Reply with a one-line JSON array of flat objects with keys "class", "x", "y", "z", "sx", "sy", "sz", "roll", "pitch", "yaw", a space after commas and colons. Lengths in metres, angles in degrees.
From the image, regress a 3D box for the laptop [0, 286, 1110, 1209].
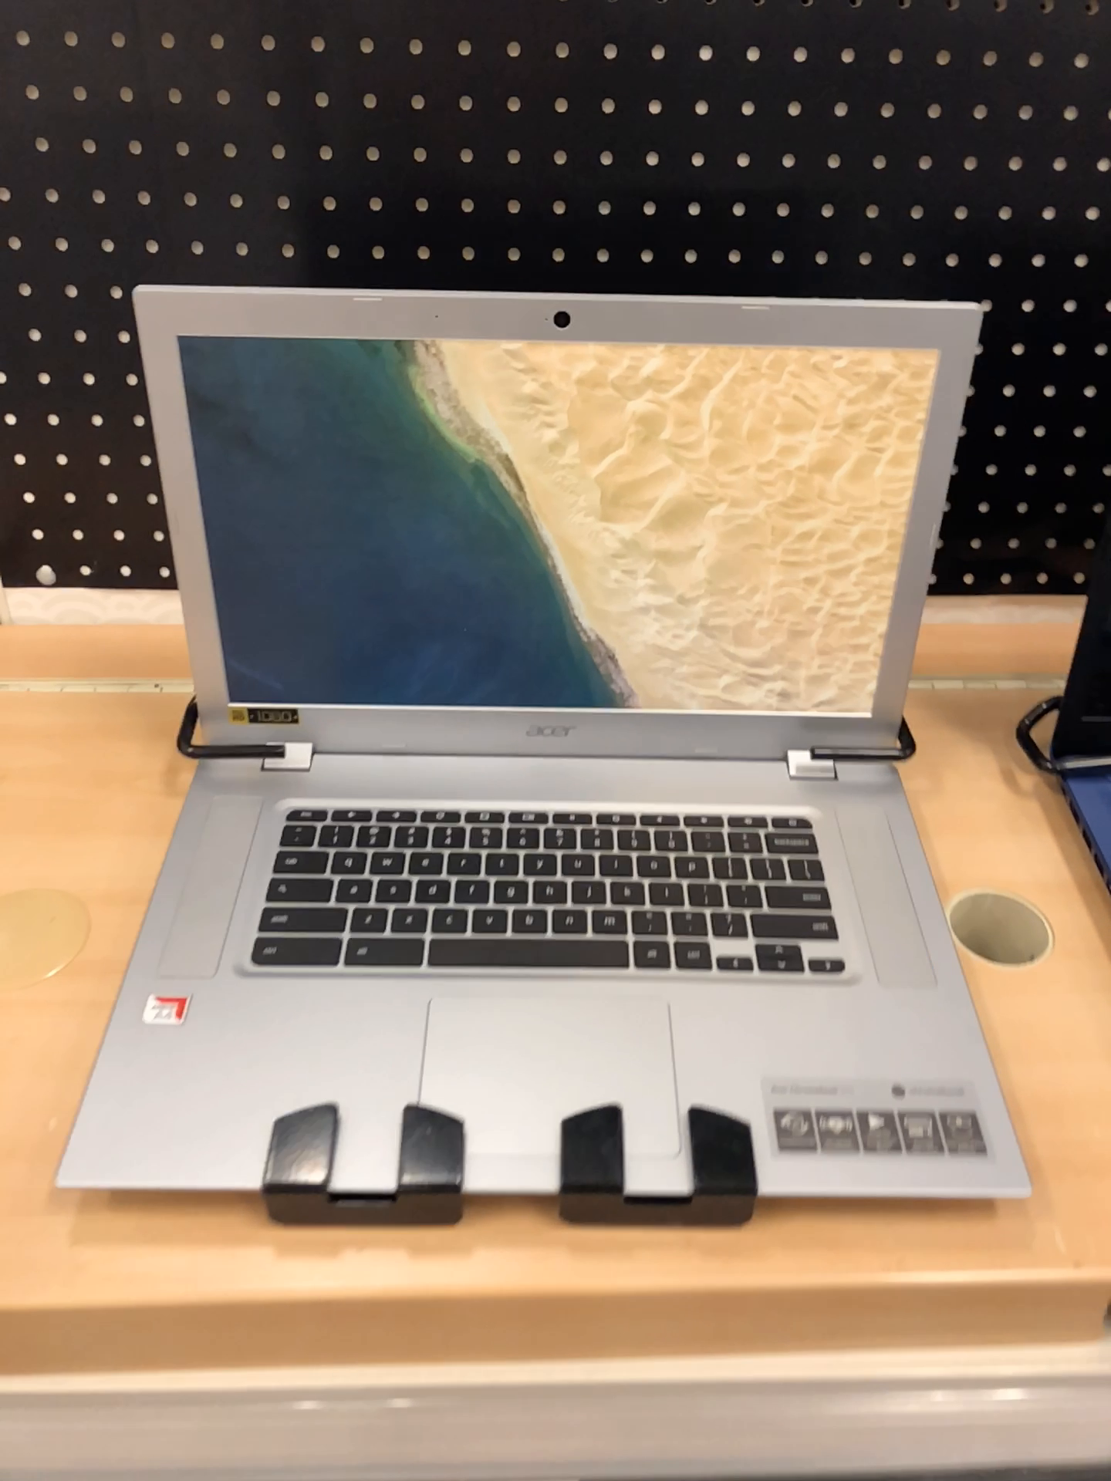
[{"class": "laptop", "x": 0.000, "y": -0.015, "z": 0.516, "sx": 0.371, "sy": 0.246, "sz": 0.287, "roll": 1, "pitch": 35, "yaw": -1}]
